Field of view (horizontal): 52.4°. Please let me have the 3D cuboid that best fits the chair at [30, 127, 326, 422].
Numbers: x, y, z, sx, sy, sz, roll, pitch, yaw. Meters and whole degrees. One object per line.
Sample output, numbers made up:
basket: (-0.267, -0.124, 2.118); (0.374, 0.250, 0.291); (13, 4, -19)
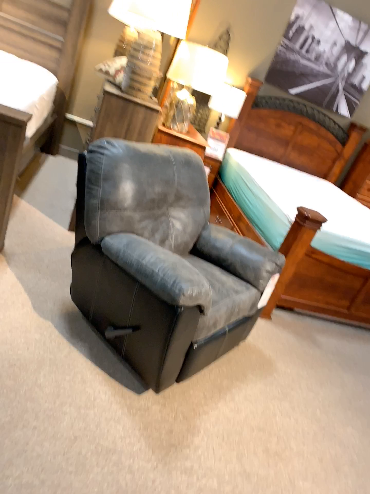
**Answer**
chair: (-0.045, 0.049, 1.999); (0.906, 0.922, 0.991); (37, 28, 28)
